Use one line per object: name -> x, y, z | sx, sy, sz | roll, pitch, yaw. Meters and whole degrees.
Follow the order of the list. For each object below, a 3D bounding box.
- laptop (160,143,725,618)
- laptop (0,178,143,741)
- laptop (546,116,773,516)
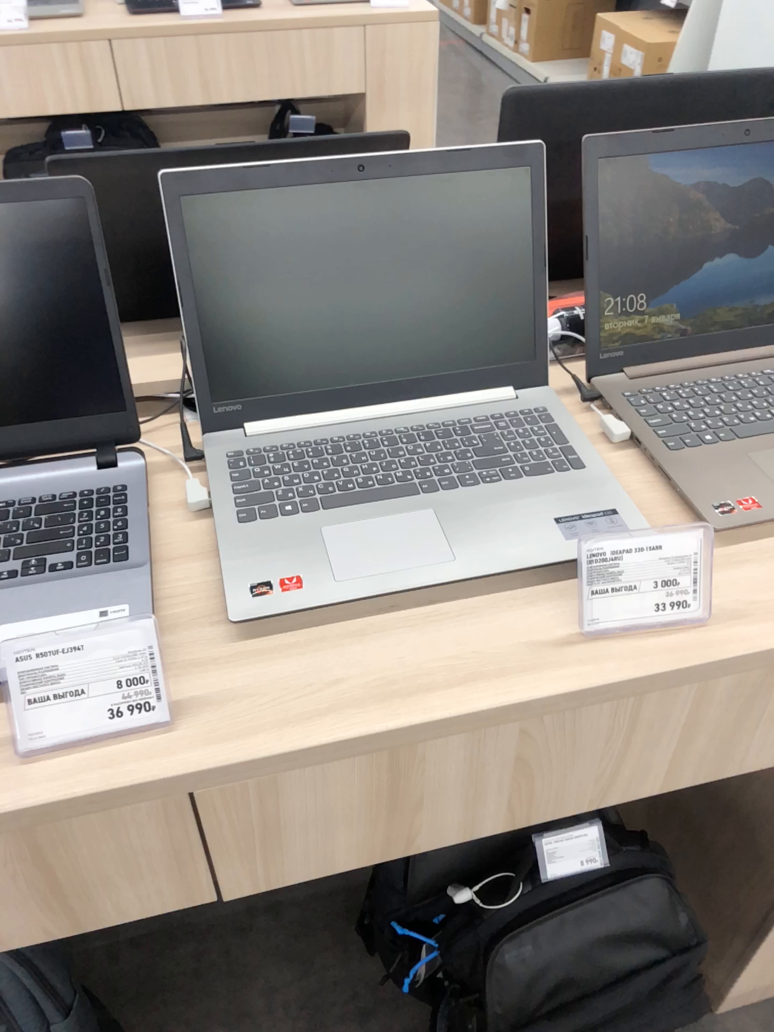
laptop -> 0.015, -0.142, 0.743 | 0.365, 0.220, 0.337 | -9, 42, -11
laptop -> -0.377, -0.068, 0.641 | 0.326, 0.232, 0.320 | -8, 42, -10
laptop -> 0.417, -0.210, 0.821 | 0.357, 0.222, 0.328 | -11, 43, -13
